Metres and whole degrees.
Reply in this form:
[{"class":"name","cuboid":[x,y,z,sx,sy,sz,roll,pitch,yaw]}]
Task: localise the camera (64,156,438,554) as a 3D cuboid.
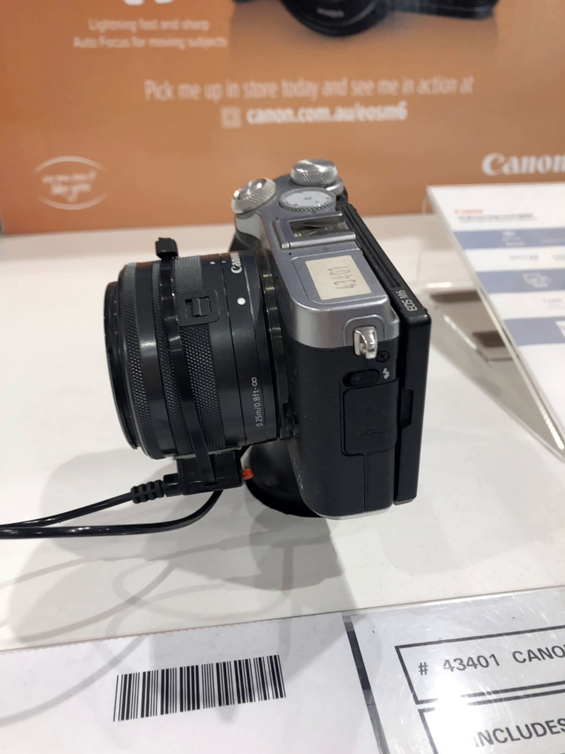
[{"class":"camera","cuboid":[-0.011,-0.015,0.202,0.082,0.075,0.103,-7,32,-5]}]
